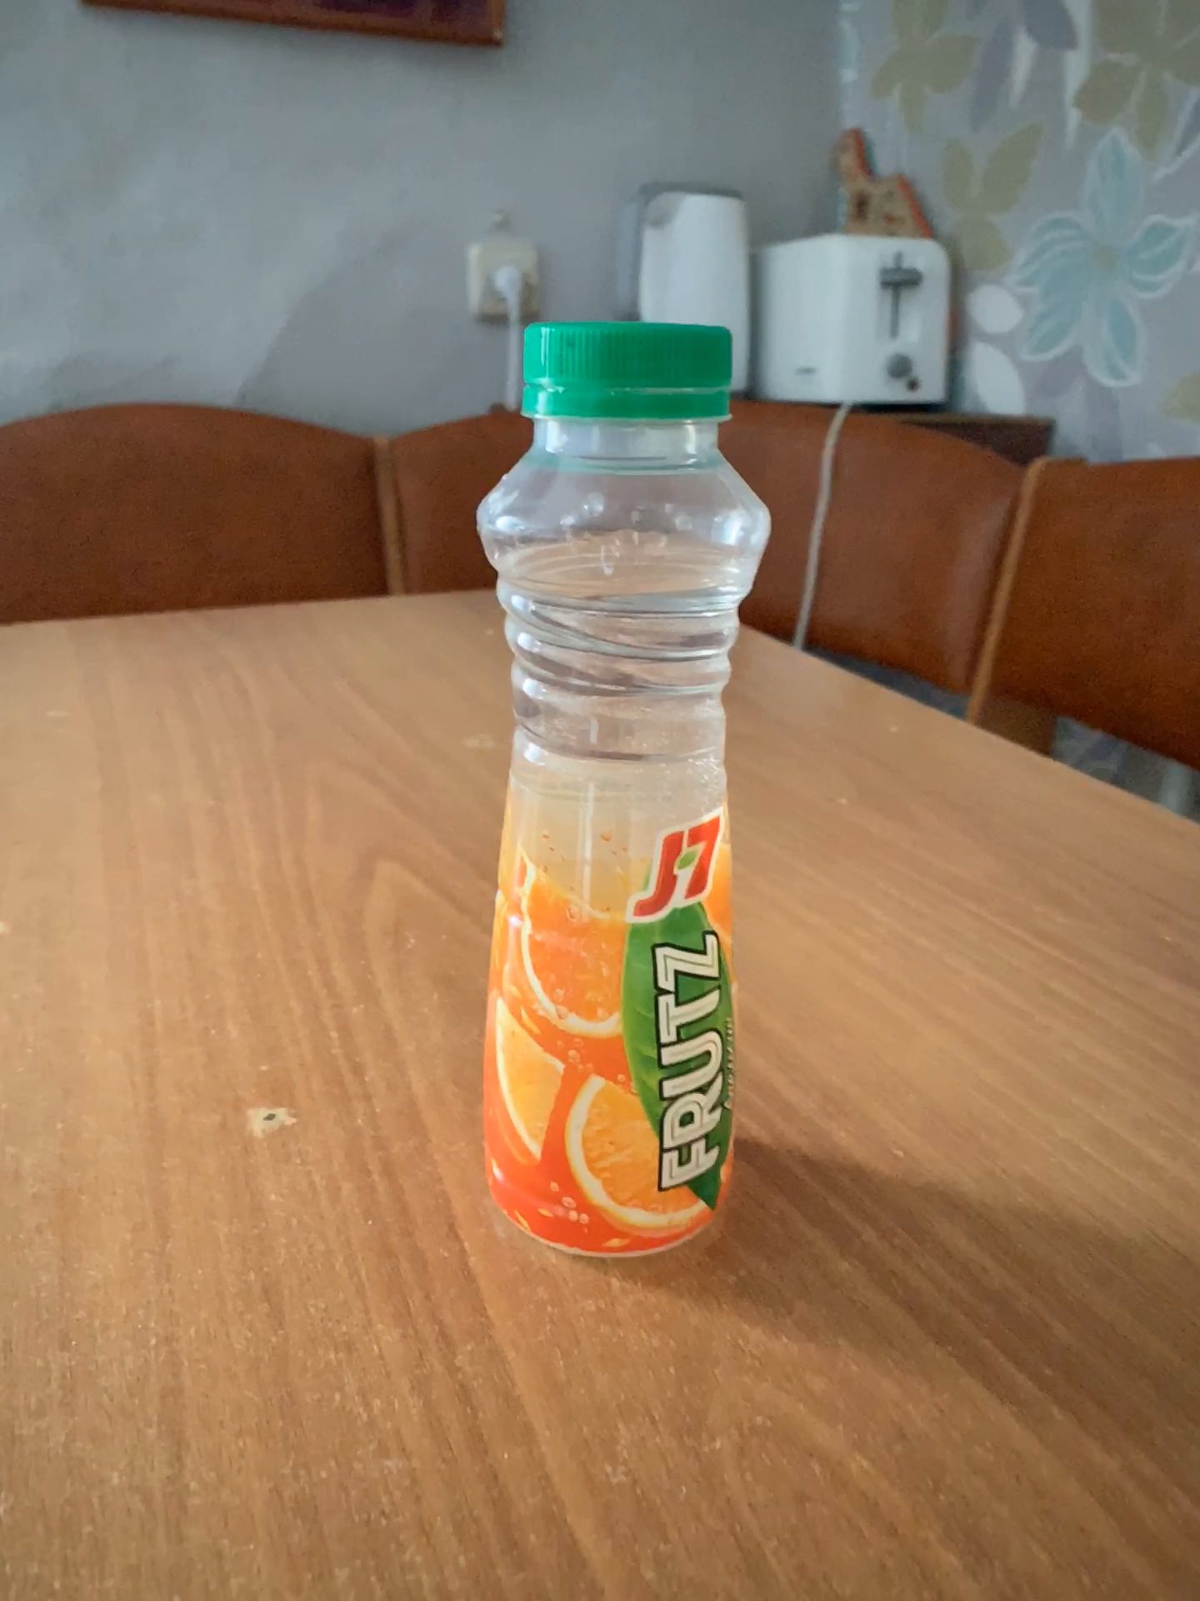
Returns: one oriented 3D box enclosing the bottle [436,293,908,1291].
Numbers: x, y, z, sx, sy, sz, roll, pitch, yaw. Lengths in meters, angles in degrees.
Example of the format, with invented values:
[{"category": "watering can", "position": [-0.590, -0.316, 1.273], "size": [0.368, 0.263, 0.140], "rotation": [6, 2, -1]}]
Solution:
[{"category": "bottle", "position": [0.009, -0.004, 0.276], "size": [0.070, 0.201, 0.070], "rotation": [1, 21, 0]}]
